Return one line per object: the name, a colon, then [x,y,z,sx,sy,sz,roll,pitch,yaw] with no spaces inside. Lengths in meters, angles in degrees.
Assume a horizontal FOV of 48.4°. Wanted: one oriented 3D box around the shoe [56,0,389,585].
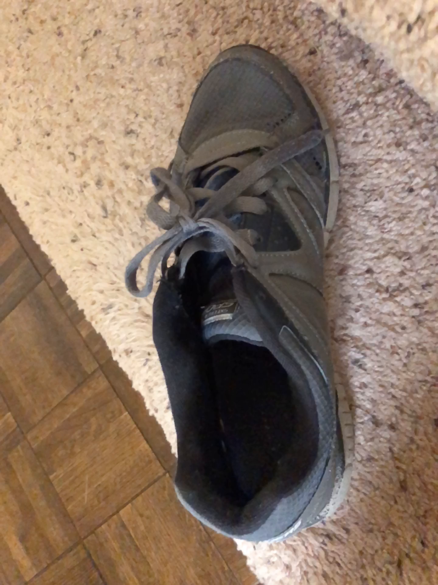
shoe: [0.010,-0.010,0.269,0.110,0.140,0.300,-9,82,21]
